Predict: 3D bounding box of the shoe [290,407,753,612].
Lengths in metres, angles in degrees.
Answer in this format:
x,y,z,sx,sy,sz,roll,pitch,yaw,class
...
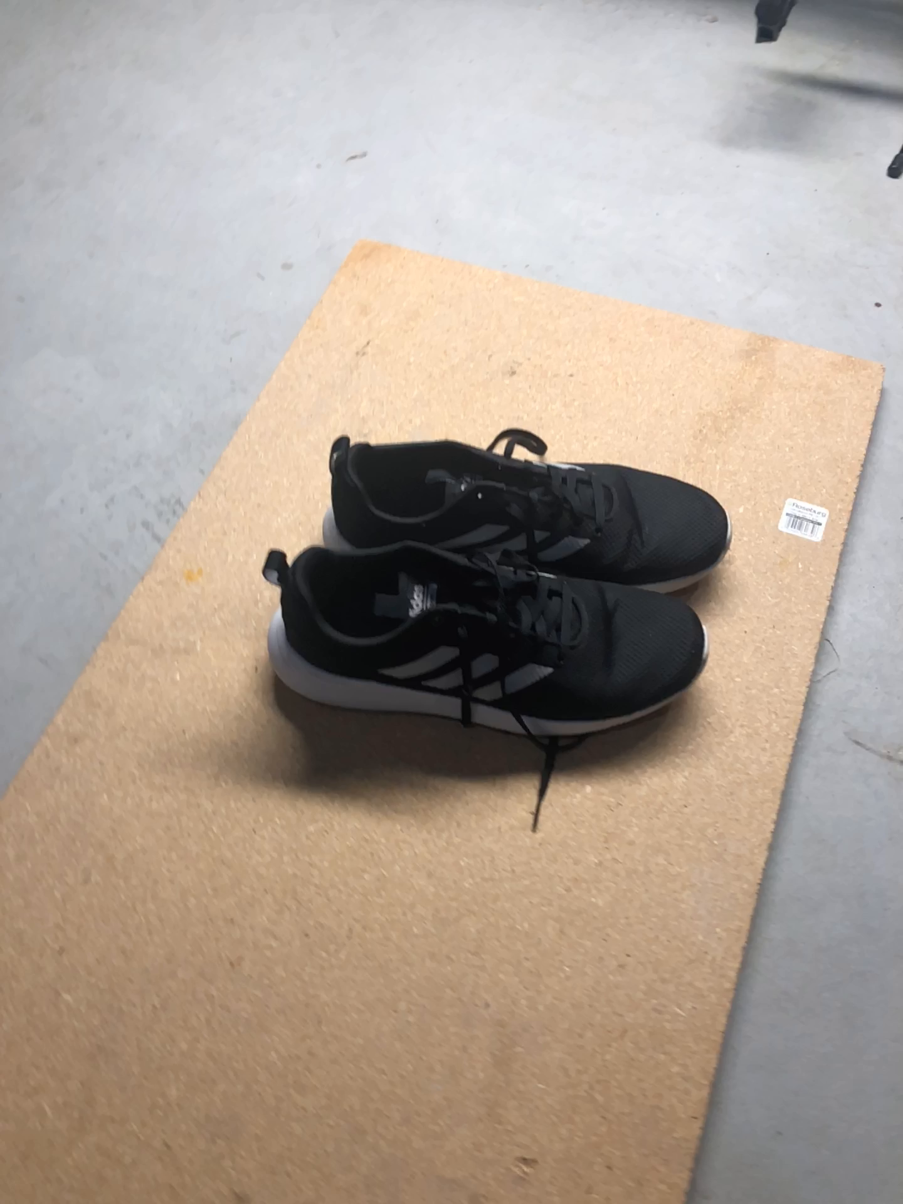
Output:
x,y,z,sx,sy,sz,roll,pitch,yaw,class
0.048,-0.067,0.716,0.300,0.090,0.110,1,53,3,shoe

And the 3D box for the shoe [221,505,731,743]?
x,y,z,sx,sy,sz,roll,pitch,yaw,class
0.017,0.014,0.653,0.300,0.090,0.110,3,53,4,shoe
